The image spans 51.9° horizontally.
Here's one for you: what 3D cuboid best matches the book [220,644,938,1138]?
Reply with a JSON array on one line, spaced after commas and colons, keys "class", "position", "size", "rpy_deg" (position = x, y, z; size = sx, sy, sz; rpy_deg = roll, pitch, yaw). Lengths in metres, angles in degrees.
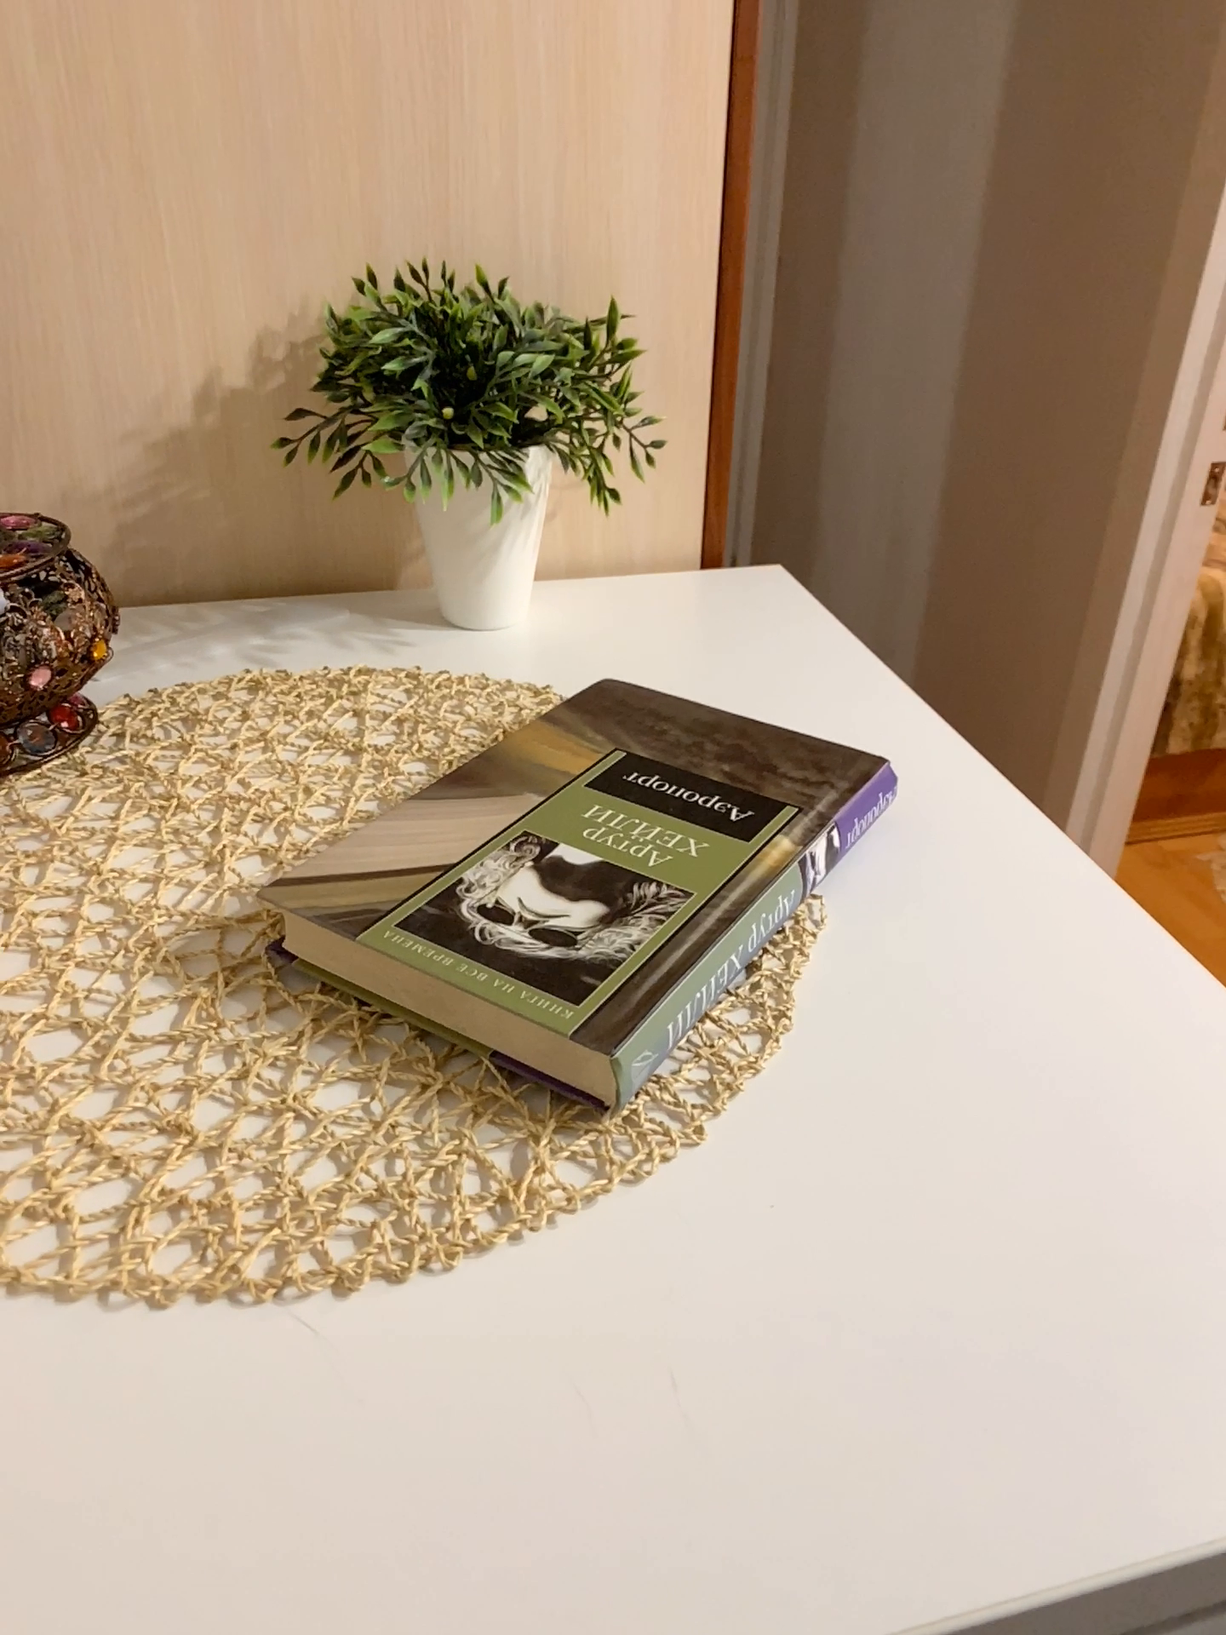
[{"class": "book", "position": [0.003, 0.004, 0.447], "size": [0.150, 0.020, 0.232], "rpy_deg": [19, 36, 26]}]
